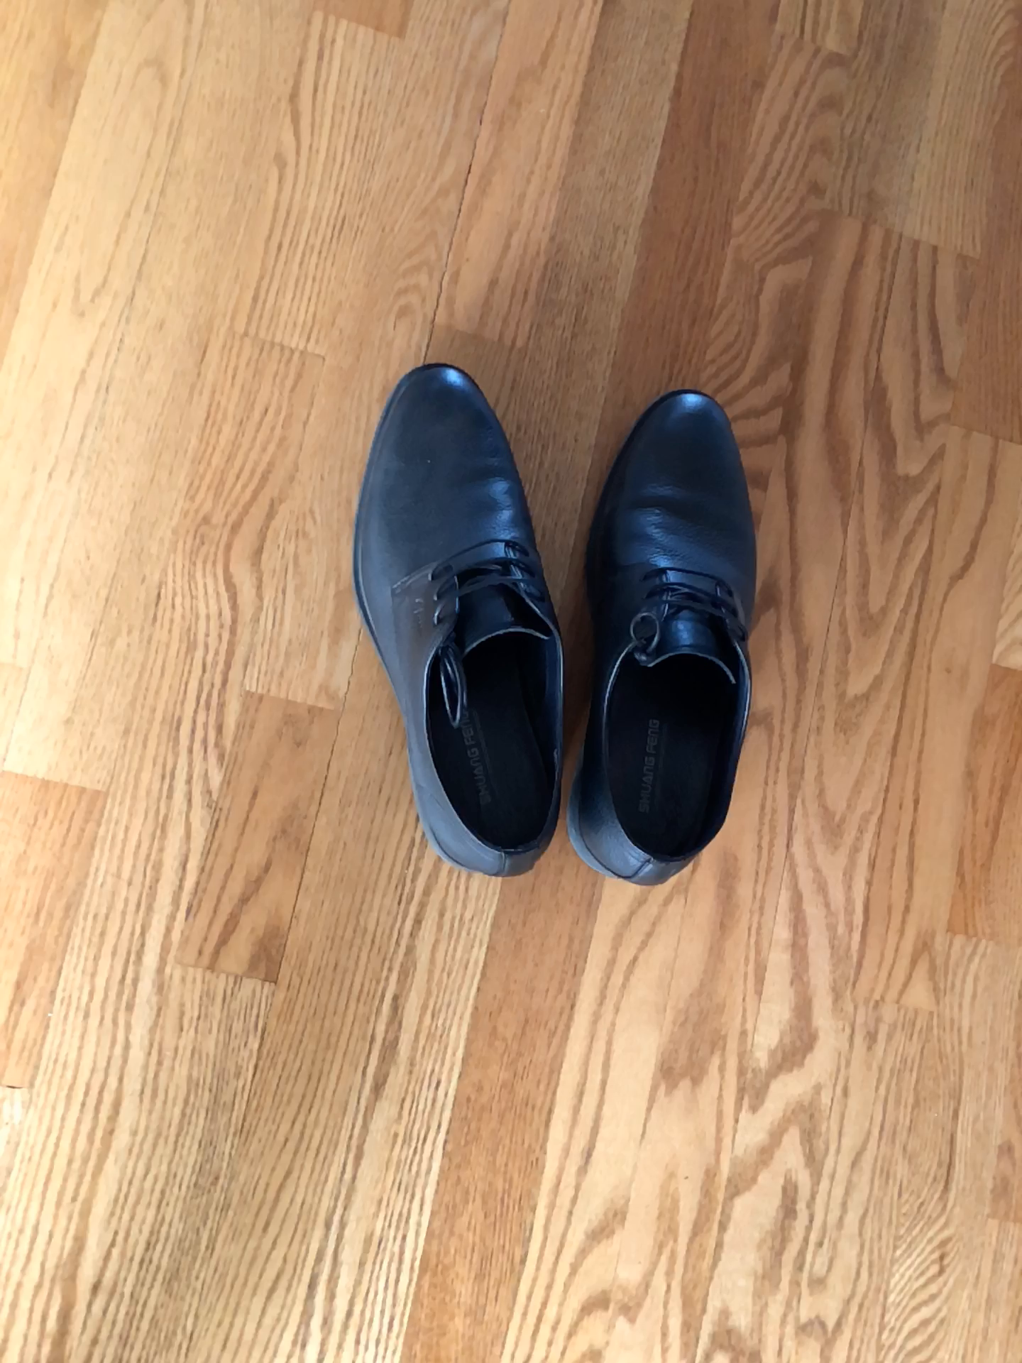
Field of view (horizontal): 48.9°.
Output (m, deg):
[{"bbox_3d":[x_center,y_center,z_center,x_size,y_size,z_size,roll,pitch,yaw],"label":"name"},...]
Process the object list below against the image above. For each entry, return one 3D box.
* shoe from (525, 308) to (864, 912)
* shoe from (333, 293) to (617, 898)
[{"bbox_3d":[0.100,-0.033,0.640,0.110,0.124,0.299,12,81,-9],"label":"shoe"},{"bbox_3d":[-0.028,-0.043,0.629,0.110,0.124,0.304,-5,84,-11],"label":"shoe"}]
